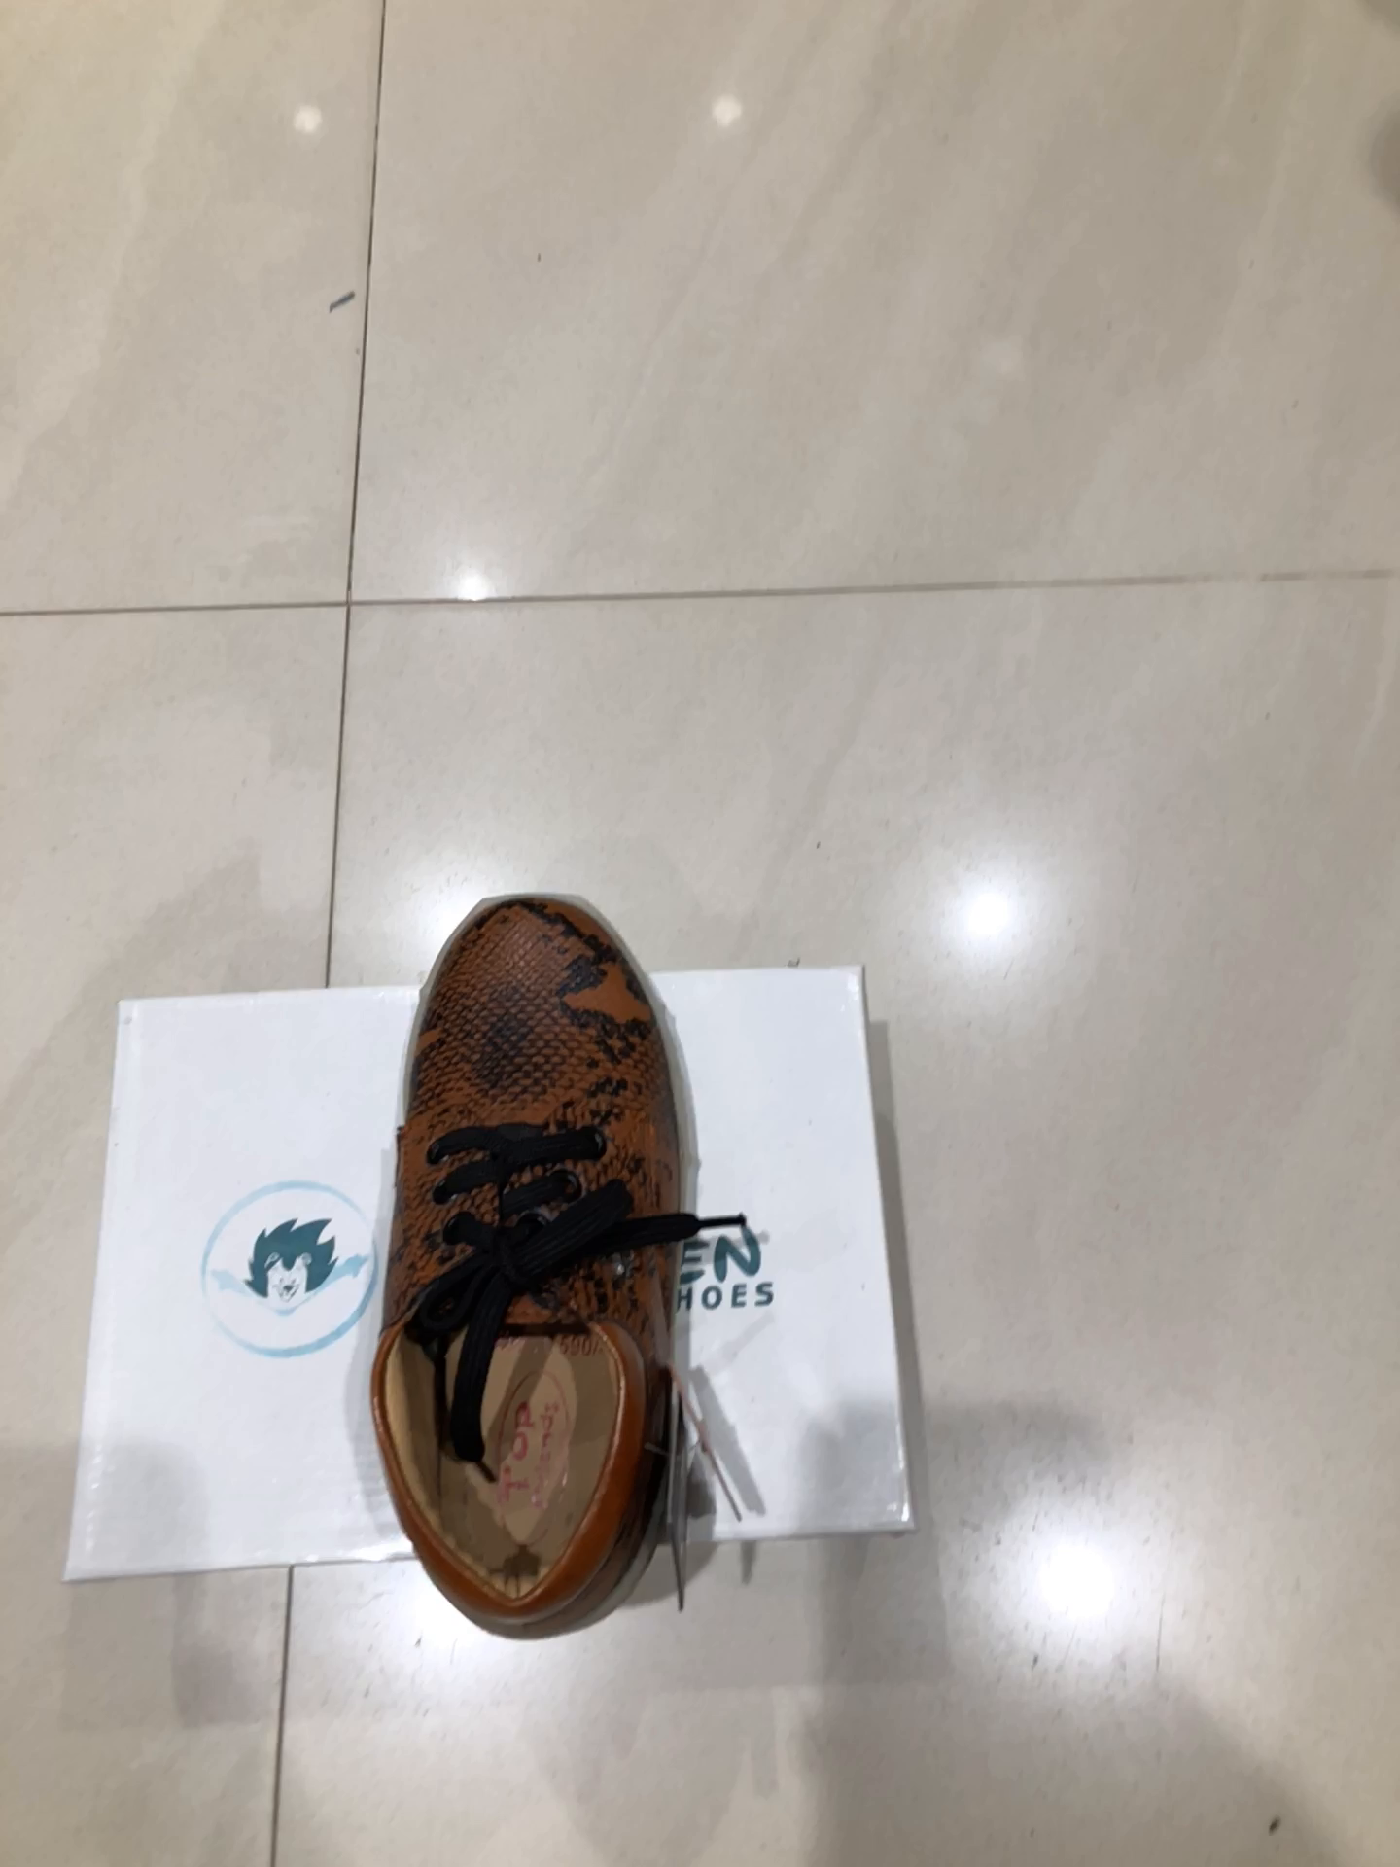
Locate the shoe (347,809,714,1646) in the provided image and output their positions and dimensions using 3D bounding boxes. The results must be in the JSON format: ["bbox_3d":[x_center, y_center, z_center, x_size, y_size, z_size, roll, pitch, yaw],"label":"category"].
[{"bbox_3d":[-0.040,0.078,0.416,0.080,0.090,0.200,-2,68,-1],"label":"shoe"}]
